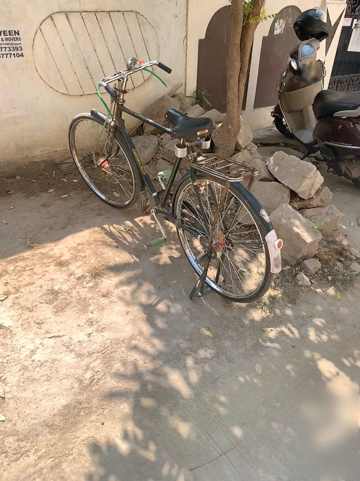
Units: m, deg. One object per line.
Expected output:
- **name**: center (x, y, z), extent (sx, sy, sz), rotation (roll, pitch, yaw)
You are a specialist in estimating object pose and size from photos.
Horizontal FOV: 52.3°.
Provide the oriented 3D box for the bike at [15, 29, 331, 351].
- **bike**: center (-0.178, -0.400, 1.990), extent (0.466, 0.994, 1.657), rotation (-27, 48, -35)
